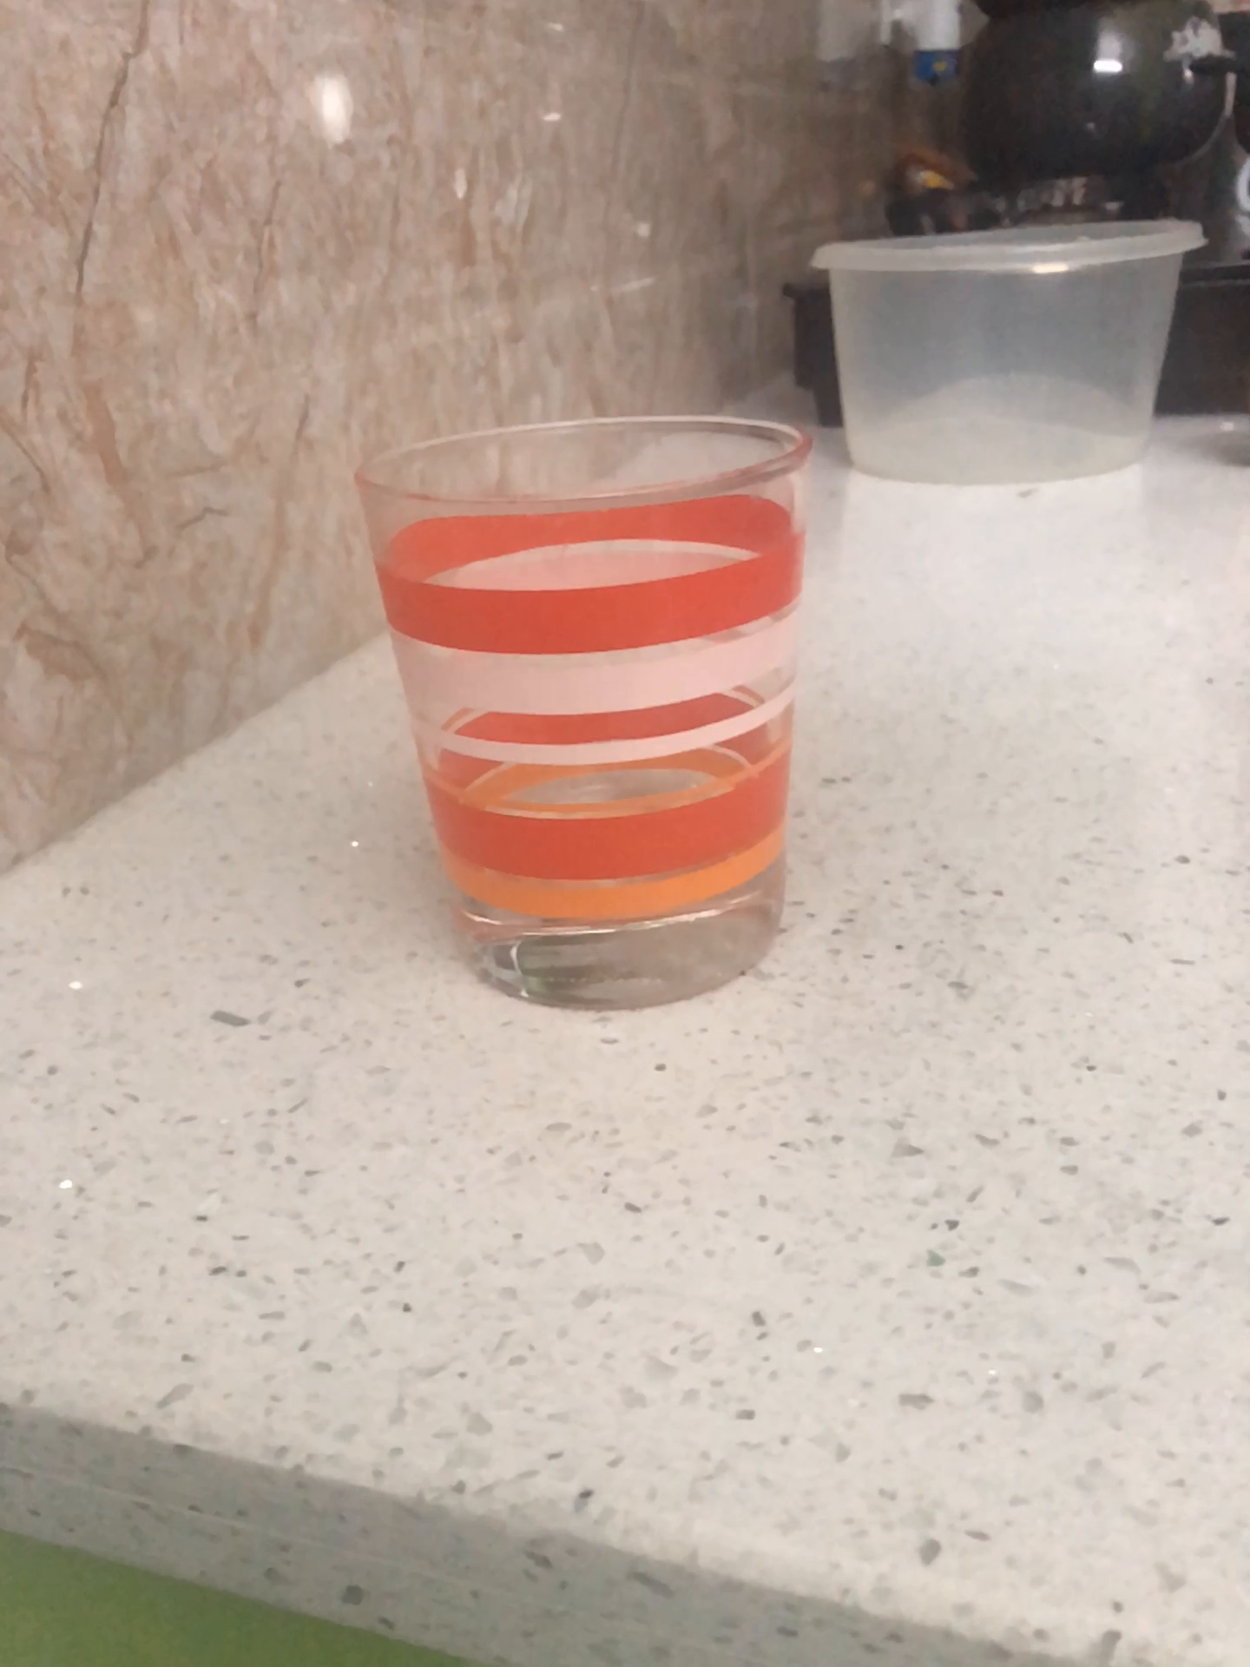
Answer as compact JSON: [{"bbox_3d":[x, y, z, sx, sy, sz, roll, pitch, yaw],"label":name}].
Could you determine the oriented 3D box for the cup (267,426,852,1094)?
[{"bbox_3d":[-0.001,-0.018,0.252,0.080,0.090,0.090,0,24,11],"label":"cup"}]
